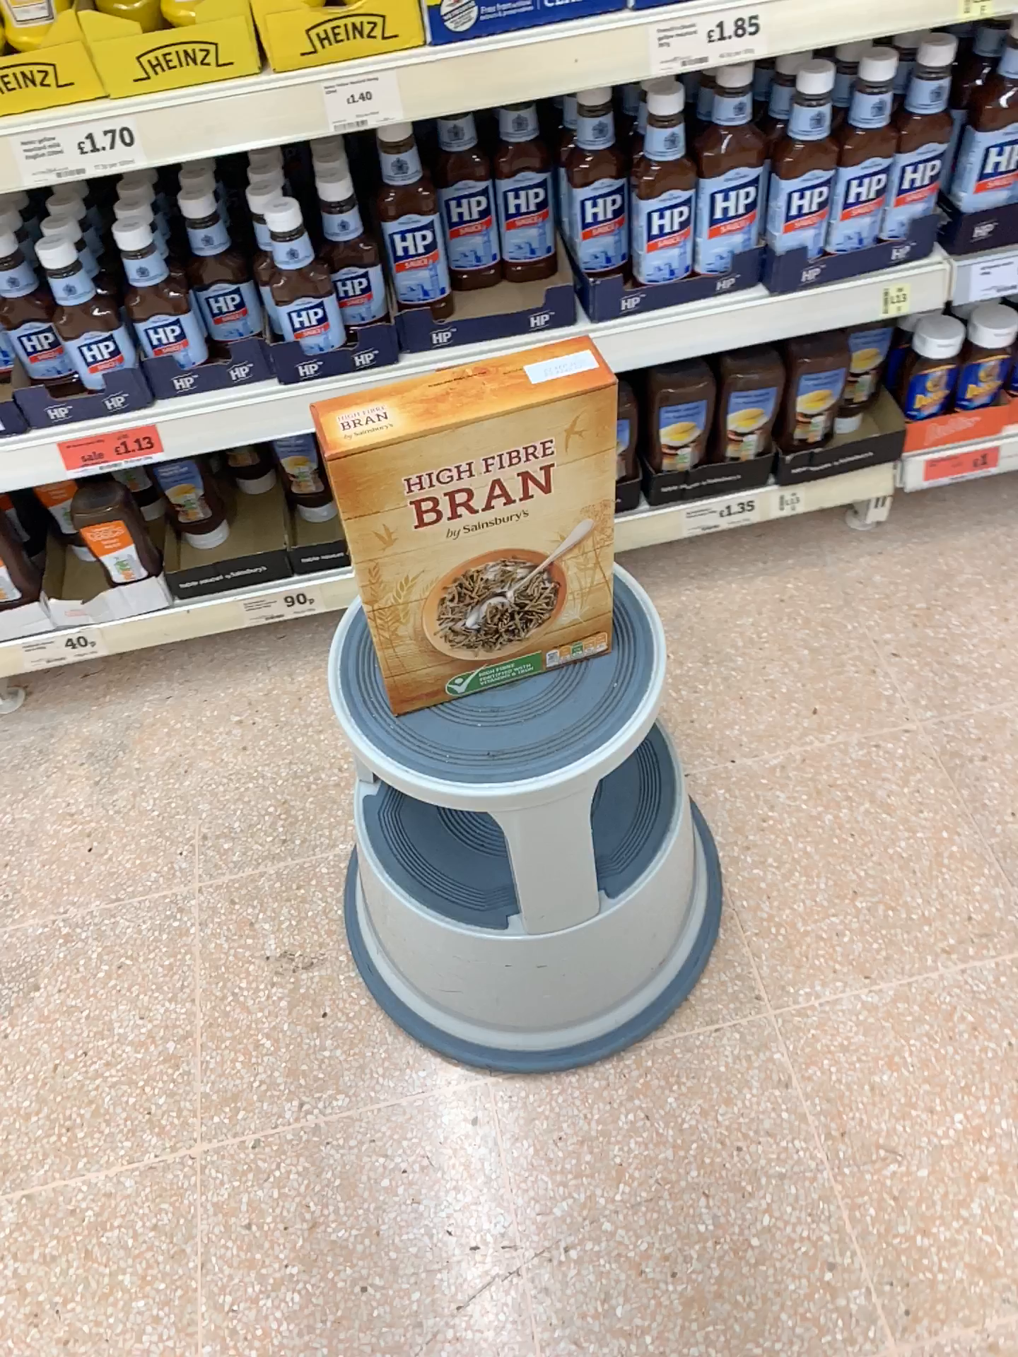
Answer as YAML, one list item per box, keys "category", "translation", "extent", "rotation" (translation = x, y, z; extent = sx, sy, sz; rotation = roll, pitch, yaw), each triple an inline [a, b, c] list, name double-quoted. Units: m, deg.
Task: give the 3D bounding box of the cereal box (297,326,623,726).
- category: "cereal box"
  translation: [-0.020, -0.098, 0.770]
  extent: [0.200, 0.278, 0.060]
  rotation: [-17, 52, -7]
